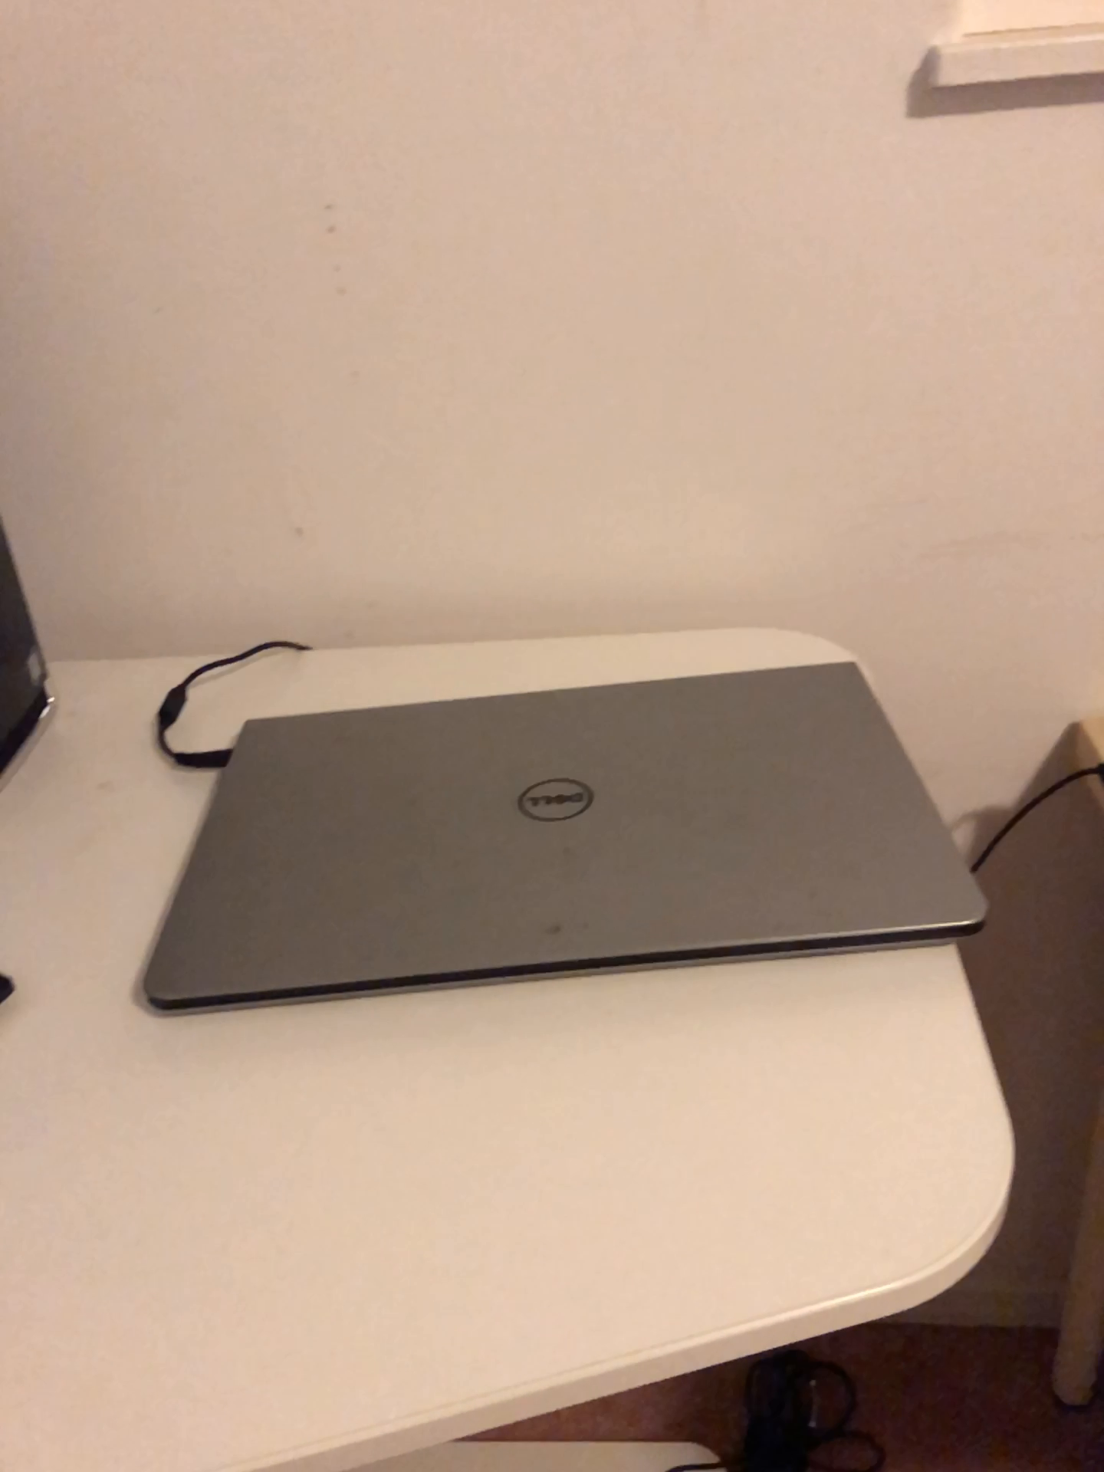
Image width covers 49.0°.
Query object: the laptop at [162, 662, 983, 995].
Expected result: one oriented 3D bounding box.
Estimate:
[{"bbox_3d":[0.002,0.036,0.651,0.371,0.001,0.248,-6,30,2],"label":"laptop"}]
